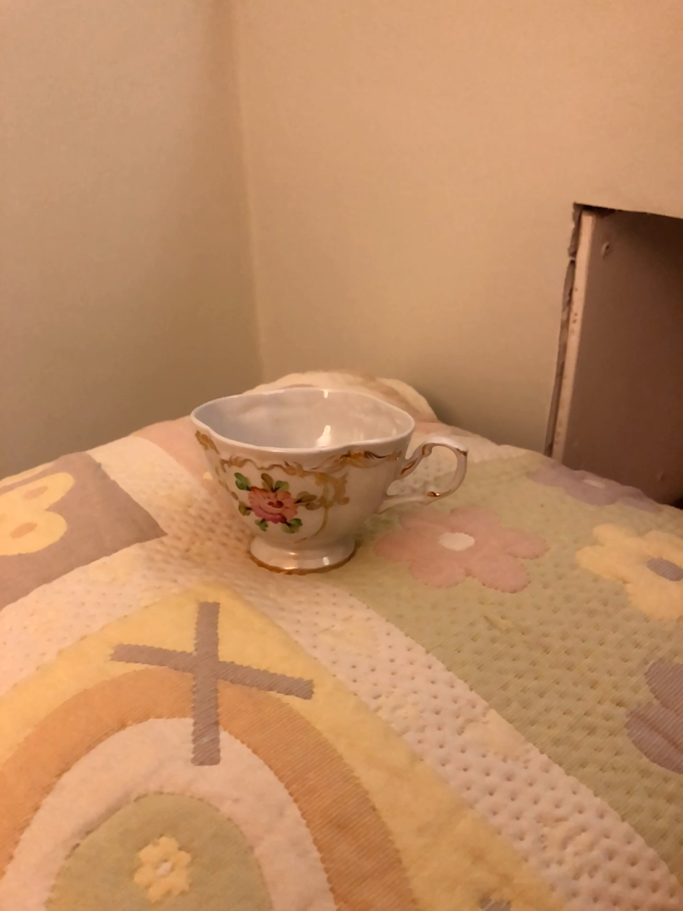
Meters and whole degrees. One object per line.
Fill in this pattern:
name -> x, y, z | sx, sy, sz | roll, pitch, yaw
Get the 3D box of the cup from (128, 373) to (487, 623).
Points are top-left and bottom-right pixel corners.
cup -> -0.008, 0.011, 0.351 | 0.140, 0.070, 0.101 | 5, 20, 12
